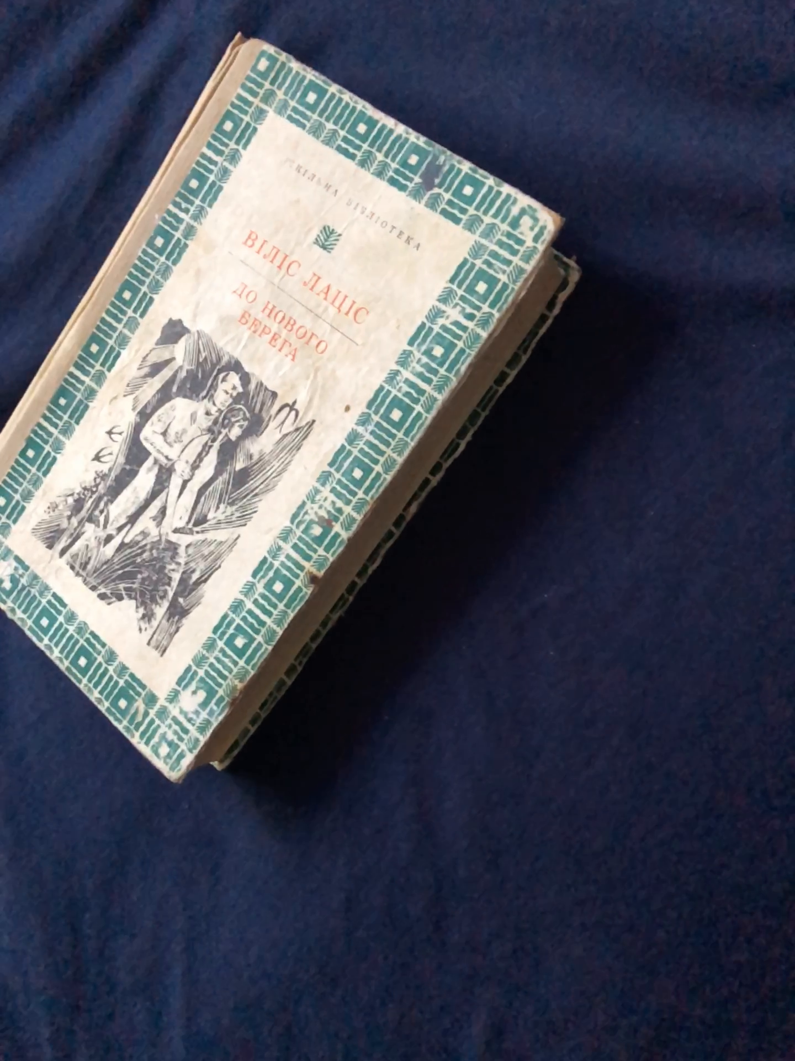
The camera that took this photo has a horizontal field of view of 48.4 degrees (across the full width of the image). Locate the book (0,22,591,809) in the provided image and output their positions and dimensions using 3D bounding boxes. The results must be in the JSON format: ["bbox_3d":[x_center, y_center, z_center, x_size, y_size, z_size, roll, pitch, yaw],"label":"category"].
[{"bbox_3d":[-0.056,-0.037,0.285,0.134,0.040,0.201,39,97,20],"label":"book"}]
